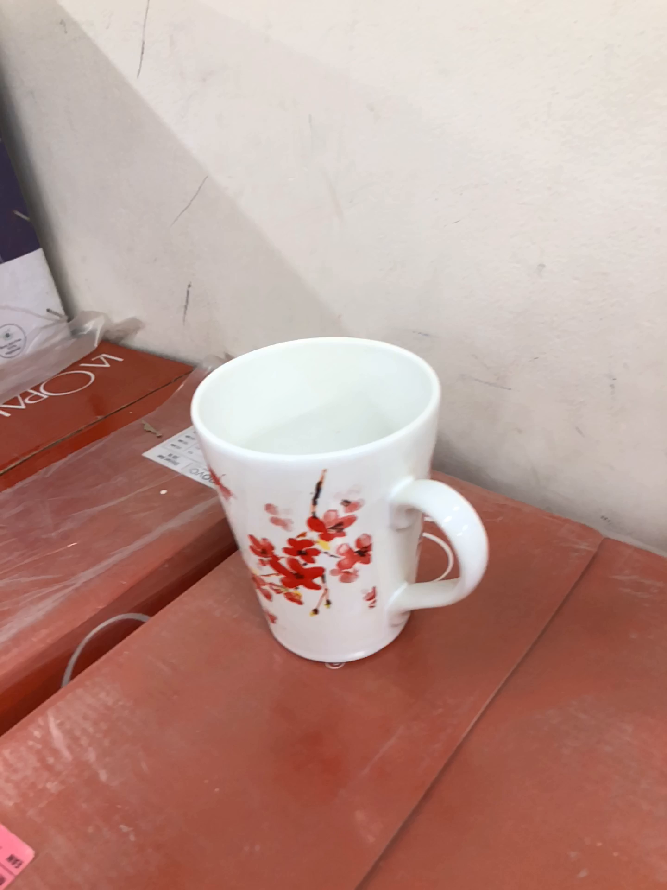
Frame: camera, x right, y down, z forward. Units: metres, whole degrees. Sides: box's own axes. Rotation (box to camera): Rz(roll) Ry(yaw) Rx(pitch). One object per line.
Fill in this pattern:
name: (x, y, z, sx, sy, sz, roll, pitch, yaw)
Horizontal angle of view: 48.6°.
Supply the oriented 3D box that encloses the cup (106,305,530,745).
cup: (-0.001, 0.020, 0.263, 0.110, 0.099, 0.080, 17, 39, 31)
